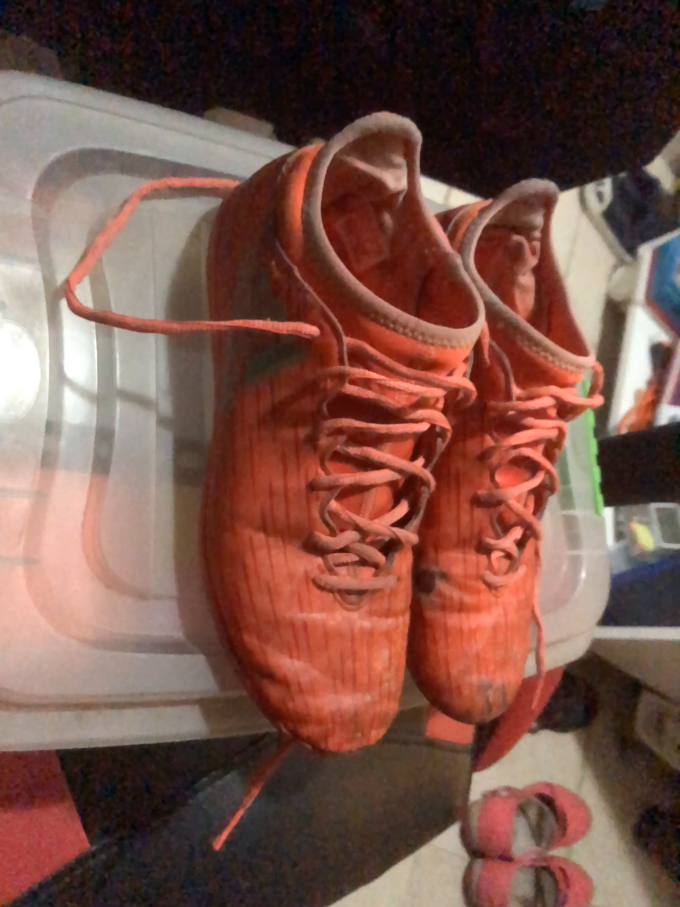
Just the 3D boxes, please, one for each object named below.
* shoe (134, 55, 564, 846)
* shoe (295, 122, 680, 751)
[{"bbox_3d":[-0.007,0.001,0.305,0.091,0.129,0.240,0,81,-38],"label":"shoe"},{"bbox_3d":[0.063,-0.003,0.363,0.091,0.129,0.240,0,81,-38],"label":"shoe"}]
